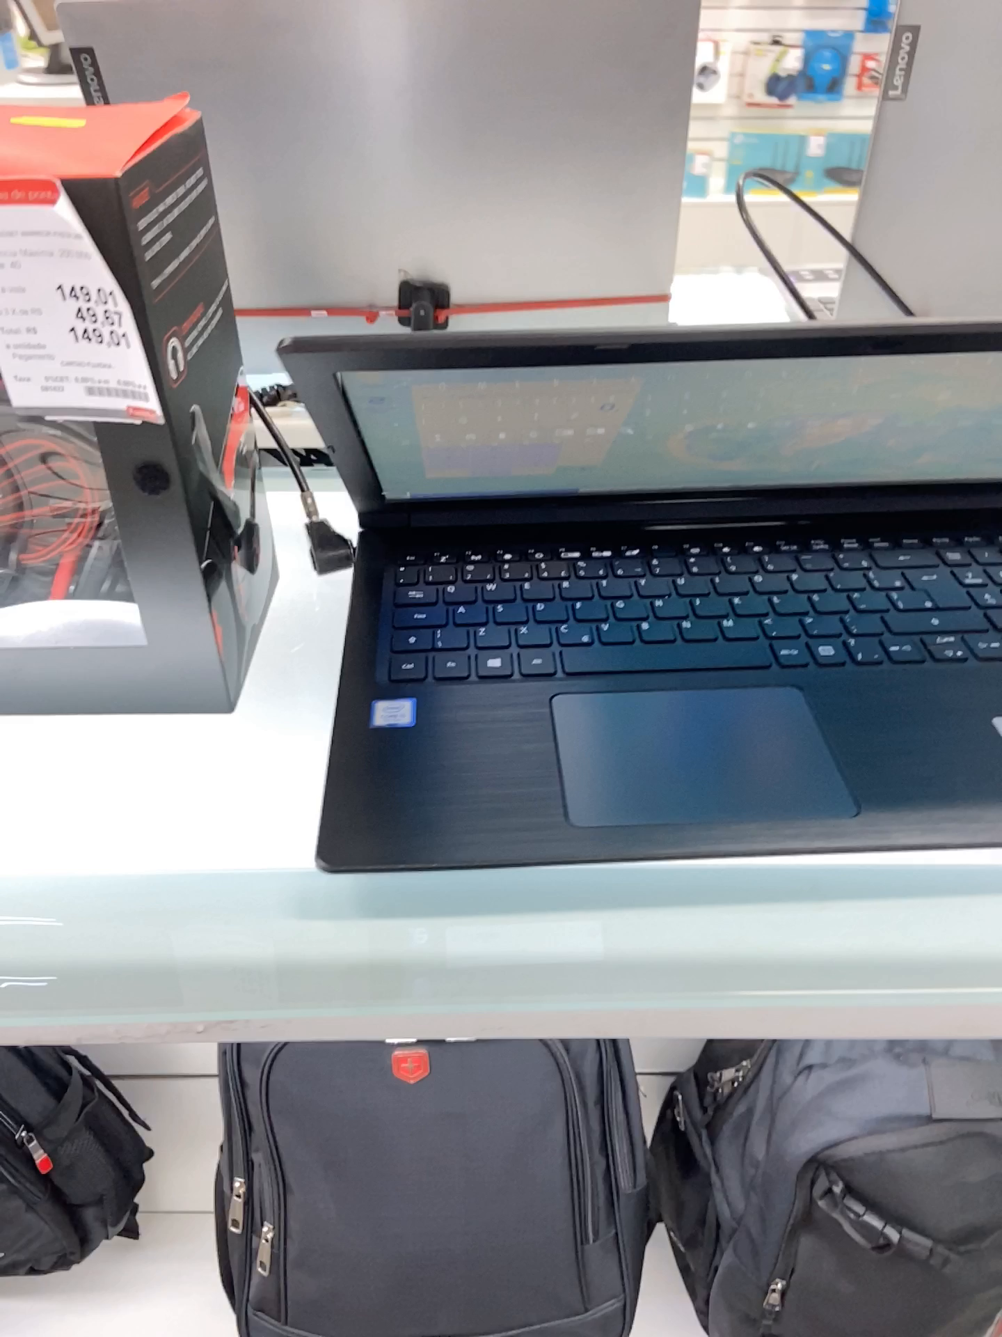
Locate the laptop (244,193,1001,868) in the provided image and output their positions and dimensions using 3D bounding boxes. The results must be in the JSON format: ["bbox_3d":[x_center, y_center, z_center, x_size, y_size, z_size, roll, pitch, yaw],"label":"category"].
[{"bbox_3d":[0.115,-0.074,0.410,0.370,0.157,0.240,-2,36,-2],"label":"laptop"}]
